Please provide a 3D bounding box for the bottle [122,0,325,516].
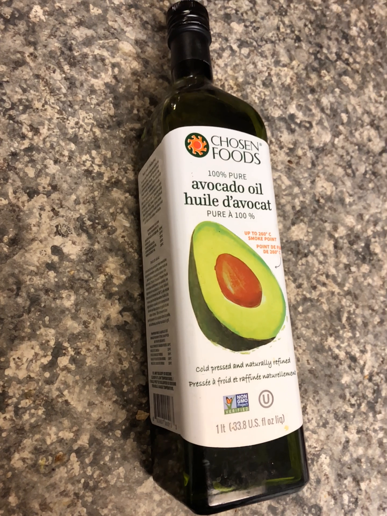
[{"bbox_3d":[0.008,-0.026,0.271,0.080,0.070,0.320,1,78,-23],"label":"bottle"}]
